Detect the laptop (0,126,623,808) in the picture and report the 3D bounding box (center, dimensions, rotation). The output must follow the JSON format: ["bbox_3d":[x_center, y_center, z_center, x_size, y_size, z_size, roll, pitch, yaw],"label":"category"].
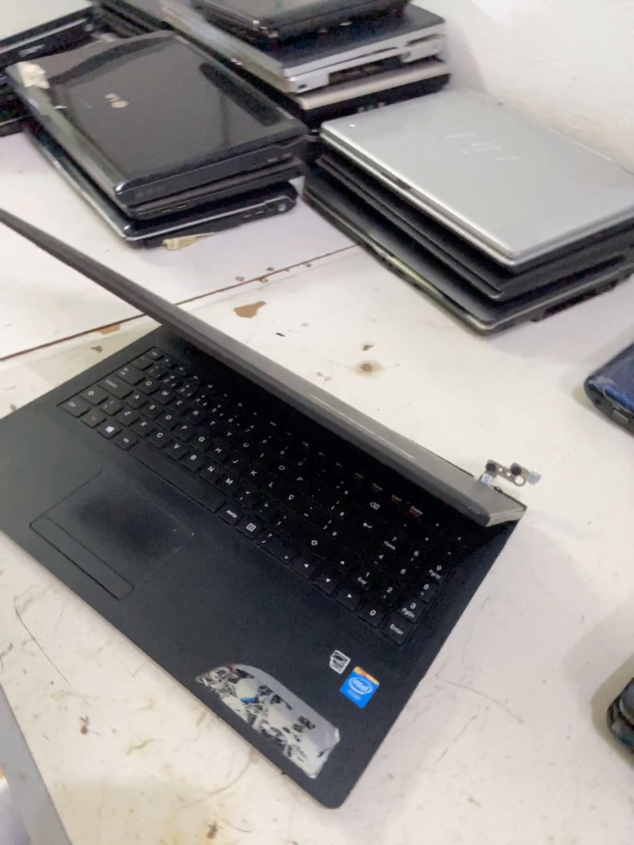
[{"bbox_3d":[-0.057,-0.012,0.436,0.376,0.189,0.258,31,49,21],"label":"laptop"}]
